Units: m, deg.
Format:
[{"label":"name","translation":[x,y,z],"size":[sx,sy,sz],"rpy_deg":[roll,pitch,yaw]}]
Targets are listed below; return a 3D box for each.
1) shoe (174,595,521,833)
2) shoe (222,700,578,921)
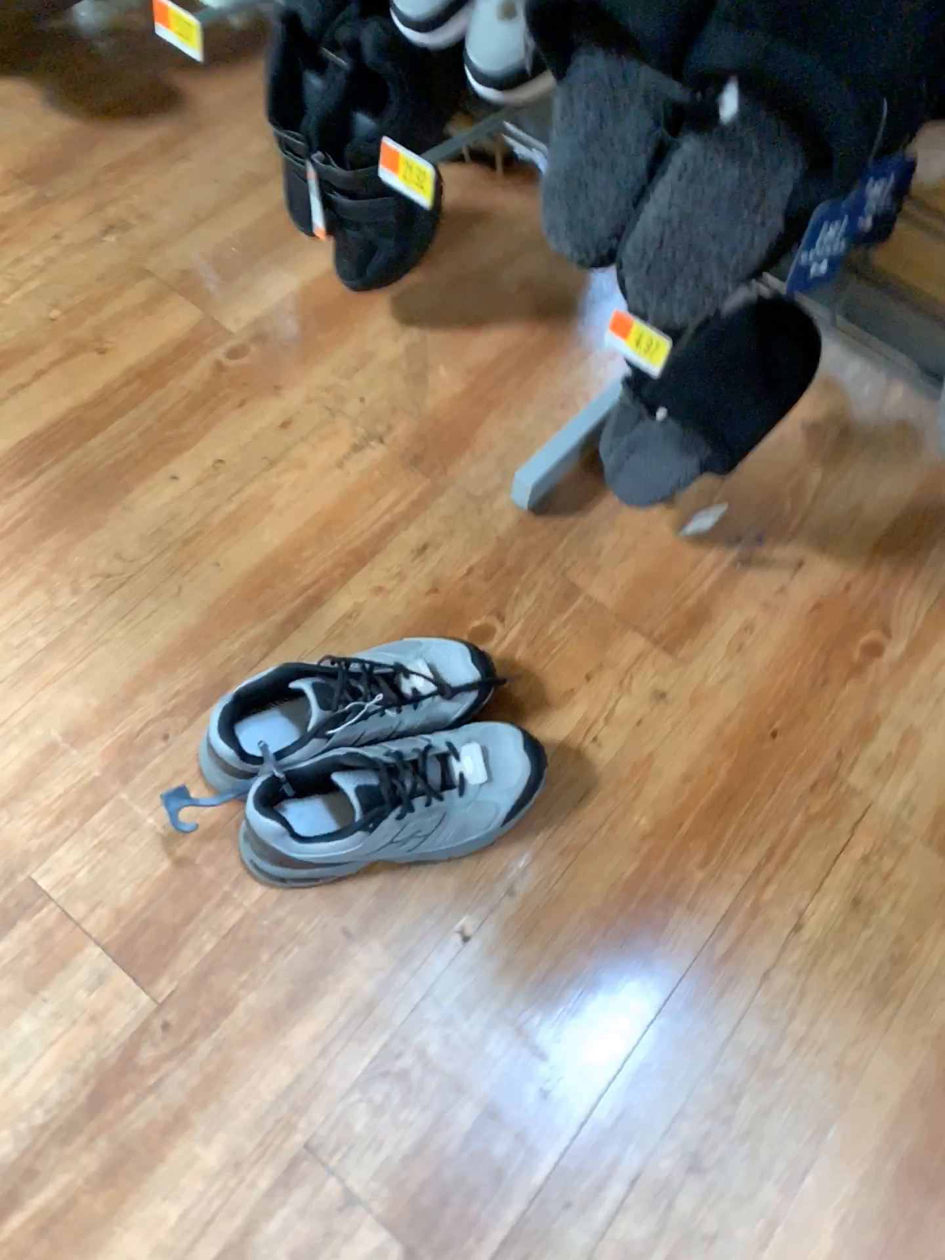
[{"label":"shoe","translation":[-0.123,0.083,0.965],"size":[0.308,0.099,0.124],"rpy_deg":[-17,65,-14]},{"label":"shoe","translation":[-0.070,0.172,0.921],"size":[0.307,0.089,0.117],"rpy_deg":[-13,65,-12]}]
